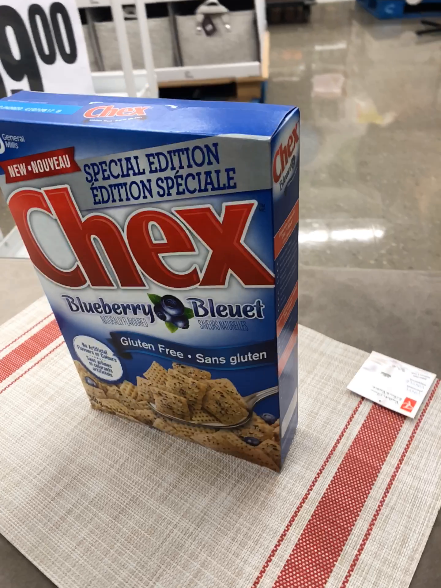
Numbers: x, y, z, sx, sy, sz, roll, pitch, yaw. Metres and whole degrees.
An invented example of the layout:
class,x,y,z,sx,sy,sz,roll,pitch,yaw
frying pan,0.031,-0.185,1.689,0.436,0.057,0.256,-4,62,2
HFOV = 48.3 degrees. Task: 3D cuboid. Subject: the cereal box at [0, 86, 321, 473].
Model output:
class,x,y,z,sx,sy,sz,roll,pitch,yaw
cereal box,-0.040,0.000,0.348,0.200,0.259,0.050,12,41,22
